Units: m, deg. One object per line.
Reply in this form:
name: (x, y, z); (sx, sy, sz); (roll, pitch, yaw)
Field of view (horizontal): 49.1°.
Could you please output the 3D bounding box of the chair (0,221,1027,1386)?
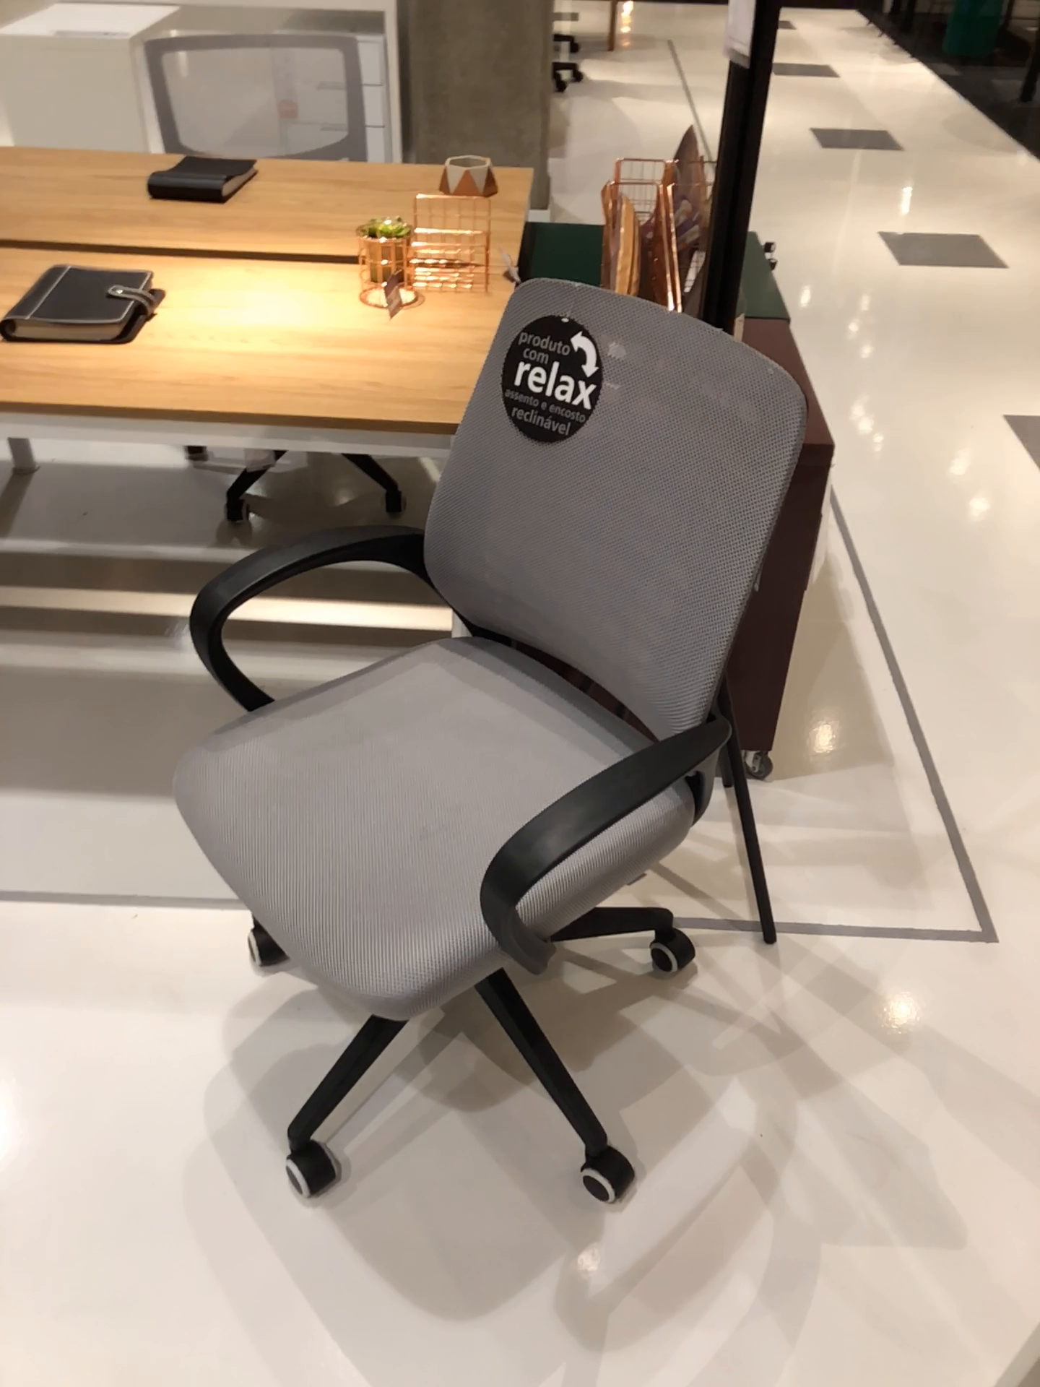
chair: (-0.059, 0.075, 1.223); (0.662, 0.853, 0.663); (-27, 46, -31)
